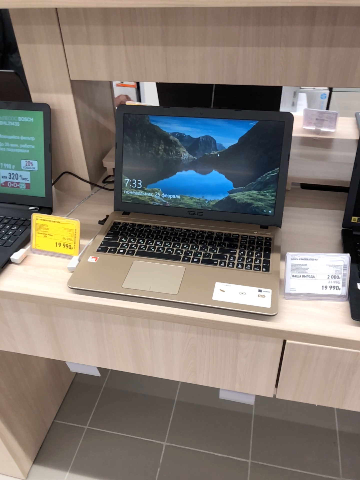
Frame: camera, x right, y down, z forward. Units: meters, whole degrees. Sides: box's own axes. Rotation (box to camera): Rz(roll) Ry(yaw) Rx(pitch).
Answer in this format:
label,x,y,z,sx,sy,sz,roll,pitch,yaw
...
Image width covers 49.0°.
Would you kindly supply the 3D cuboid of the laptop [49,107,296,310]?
label,x,y,z,sx,sy,sz,roll,pitch,yaw
laptop,0.023,-0.089,0.773,0.366,0.208,0.351,6,38,11
